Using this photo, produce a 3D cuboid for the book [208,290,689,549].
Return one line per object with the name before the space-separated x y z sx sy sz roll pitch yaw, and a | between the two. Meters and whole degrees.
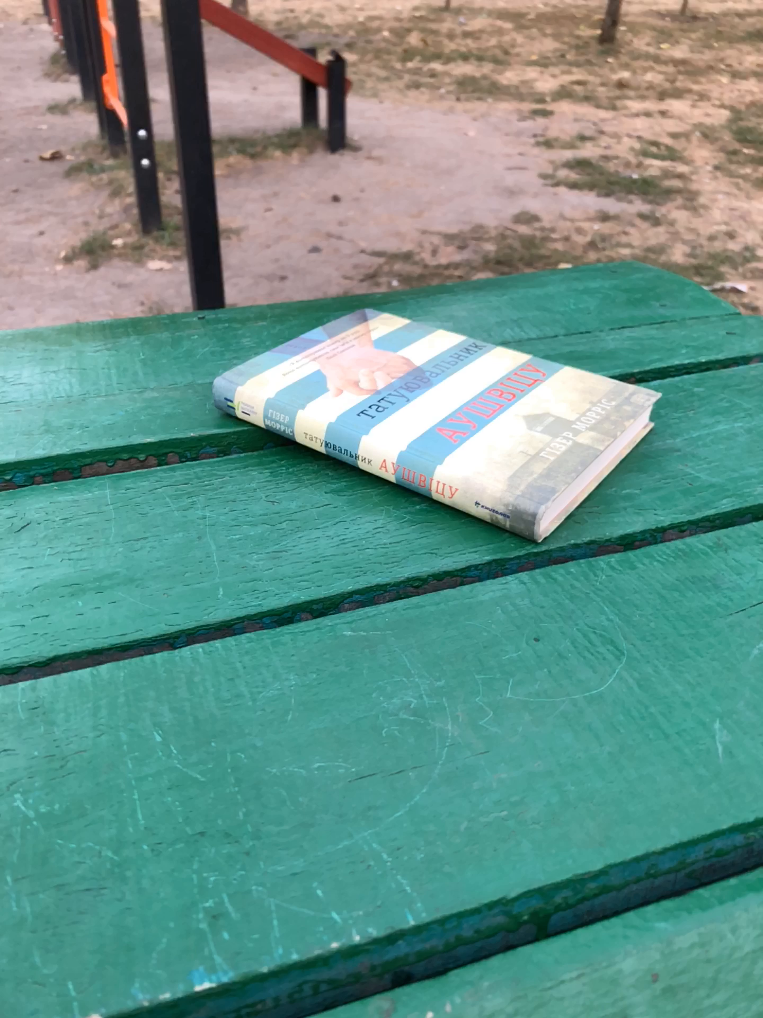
book | 0.036 -0.065 0.471 0.218 0.025 0.152 23 40 28
